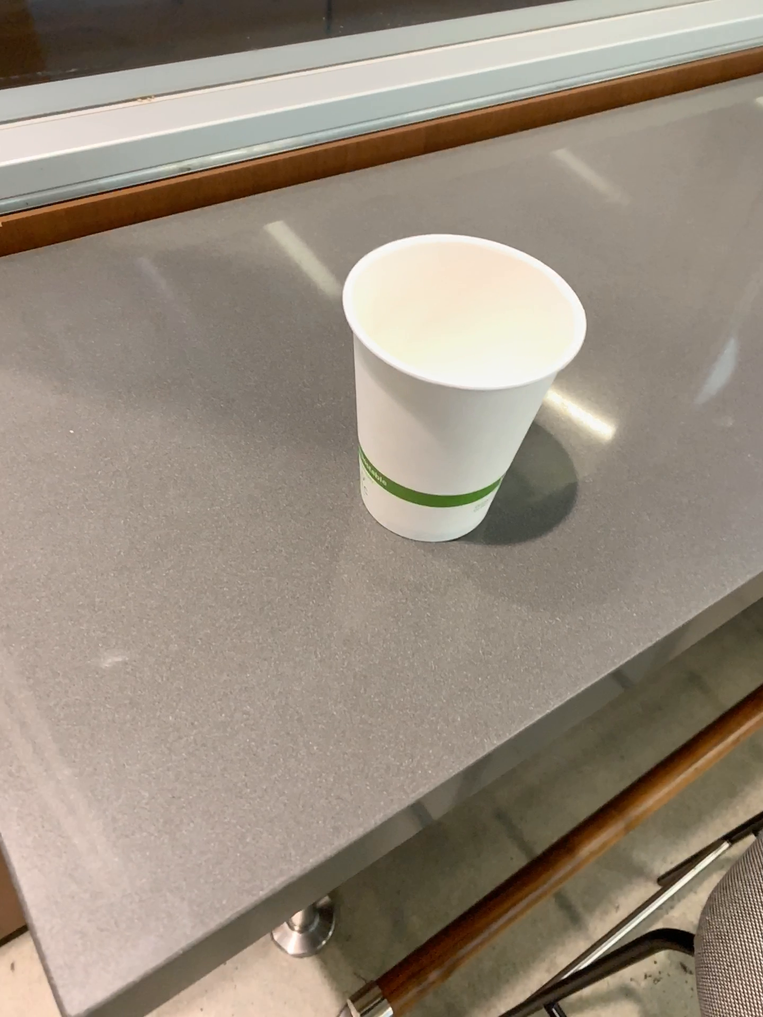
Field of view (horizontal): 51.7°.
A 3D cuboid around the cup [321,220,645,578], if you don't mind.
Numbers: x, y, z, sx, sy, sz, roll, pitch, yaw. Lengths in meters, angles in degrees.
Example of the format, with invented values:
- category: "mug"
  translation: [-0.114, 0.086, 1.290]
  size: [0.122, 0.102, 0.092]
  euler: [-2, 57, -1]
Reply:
- category: "cup"
  translation: [0.028, -0.042, 0.308]
  size: [0.090, 0.100, 0.090]
  euler: [3, 49, -3]
